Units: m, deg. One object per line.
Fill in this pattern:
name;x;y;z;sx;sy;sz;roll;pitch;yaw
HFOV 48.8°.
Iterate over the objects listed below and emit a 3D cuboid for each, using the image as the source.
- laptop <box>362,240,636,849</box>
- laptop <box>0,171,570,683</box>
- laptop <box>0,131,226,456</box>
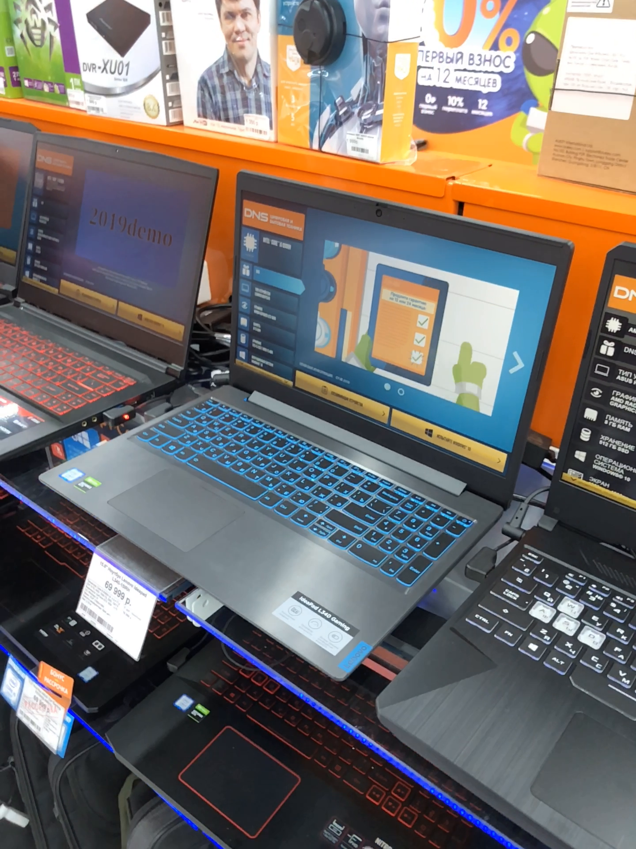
laptop;0.263;0.085;0.377;0.368;0.244;0.273;24;37;34
laptop;-0.035;-0.046;0.594;0.357;0.235;0.279;24;37;32
laptop;-0.354;-0.188;0.828;0.356;0.224;0.320;23;36;31
